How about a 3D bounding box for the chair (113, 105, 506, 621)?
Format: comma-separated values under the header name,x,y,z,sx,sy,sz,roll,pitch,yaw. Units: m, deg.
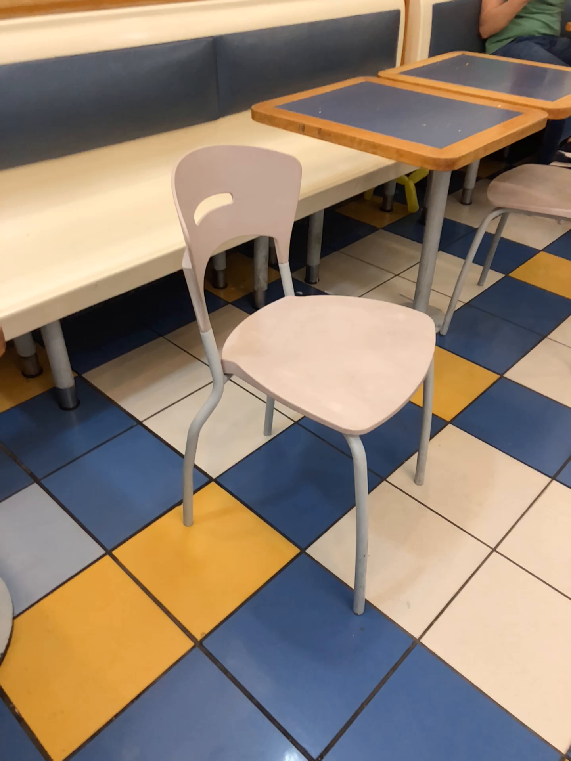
name,x,y,z,sx,sy,sz,roll,pitch,yaw
chair,0.055,-0.038,1.222,0.470,0.794,0.453,18,40,21
